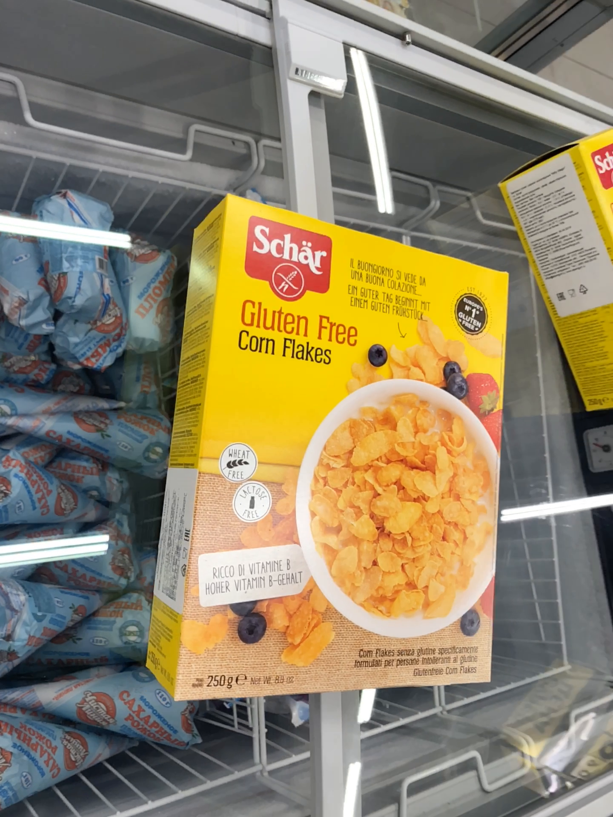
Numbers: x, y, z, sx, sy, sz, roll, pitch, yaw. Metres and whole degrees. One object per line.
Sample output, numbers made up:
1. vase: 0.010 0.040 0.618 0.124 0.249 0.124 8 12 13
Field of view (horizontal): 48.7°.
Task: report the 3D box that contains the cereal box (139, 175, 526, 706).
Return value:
1. cereal box: 0.024 0.026 0.410 0.200 0.080 0.260 9 81 -27
